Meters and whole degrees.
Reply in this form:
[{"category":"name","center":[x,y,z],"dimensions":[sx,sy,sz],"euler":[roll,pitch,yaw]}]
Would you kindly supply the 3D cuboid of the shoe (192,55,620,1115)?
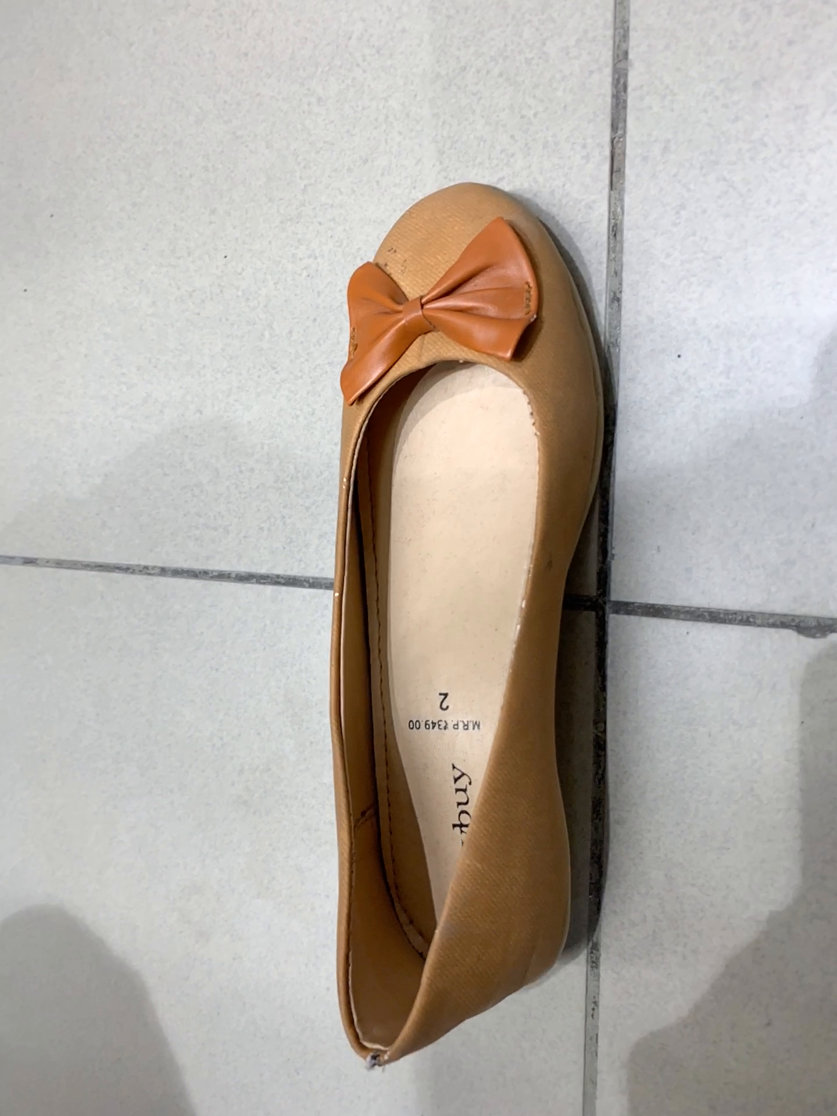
[{"category":"shoe","center":[-0.001,0.014,0.217],"dimensions":[0.080,0.070,0.220],"euler":[1,93,32]}]
